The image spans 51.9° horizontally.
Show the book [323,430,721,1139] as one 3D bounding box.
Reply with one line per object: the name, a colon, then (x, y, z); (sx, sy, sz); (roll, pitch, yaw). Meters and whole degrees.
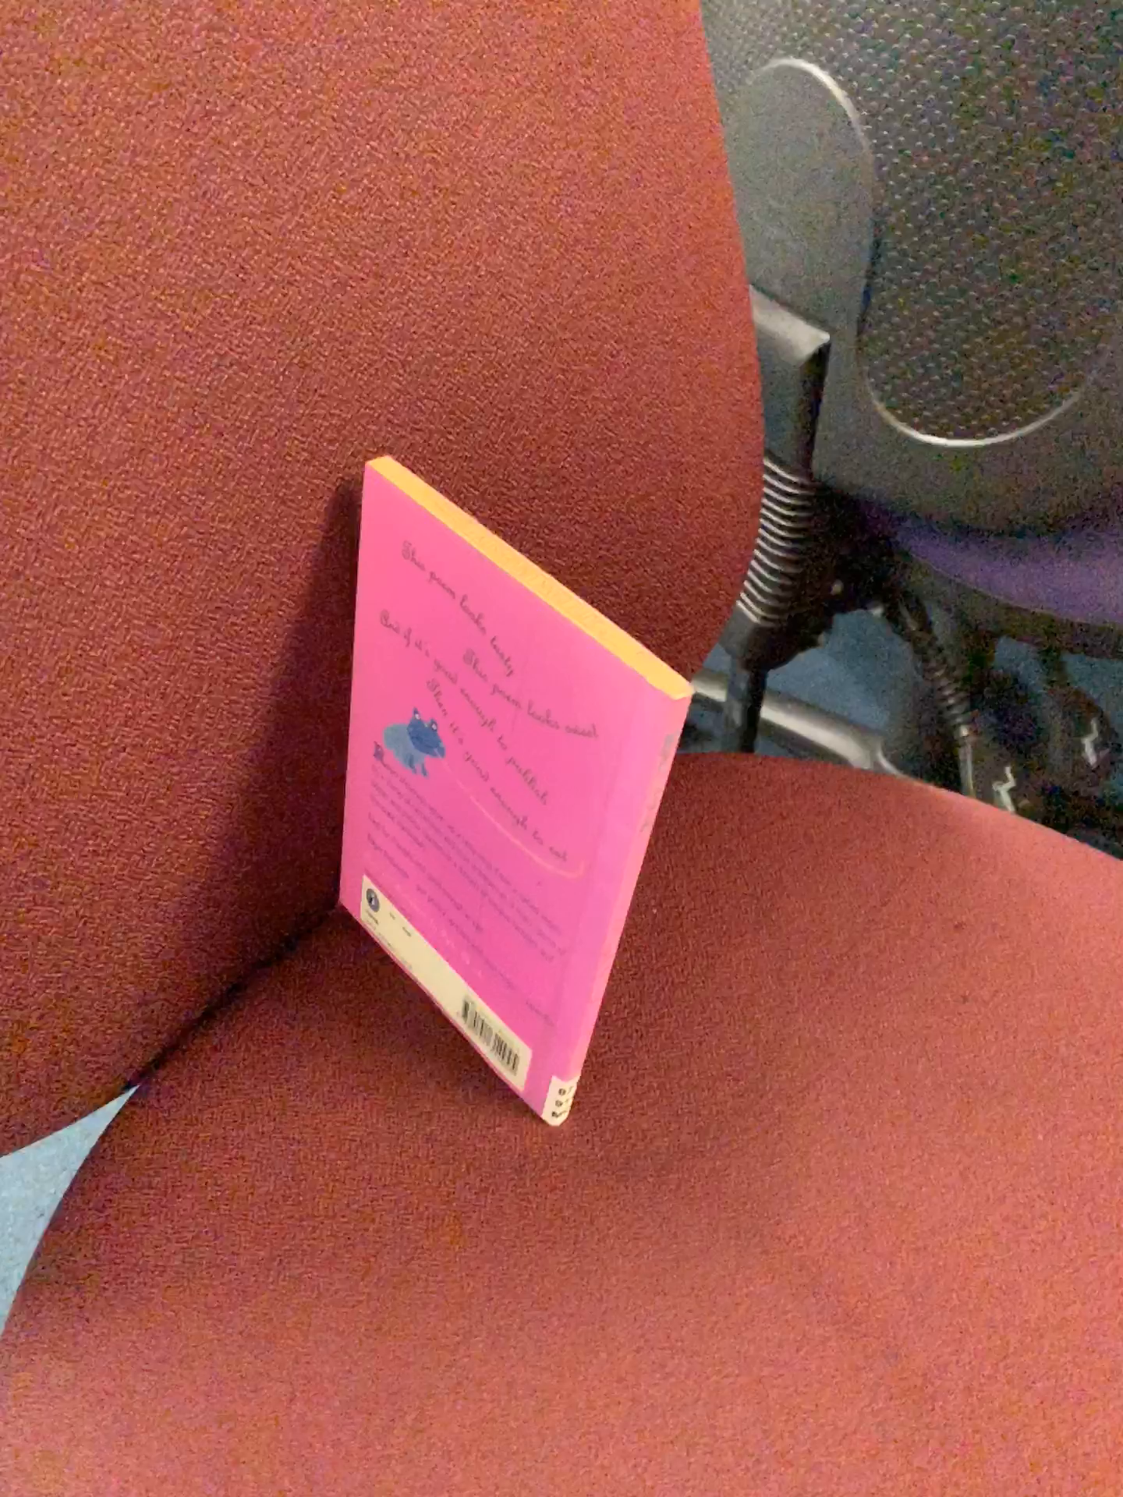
book: (-0.028, 0.017, 0.368); (0.017, 0.189, 0.141); (-26, 51, -36)
